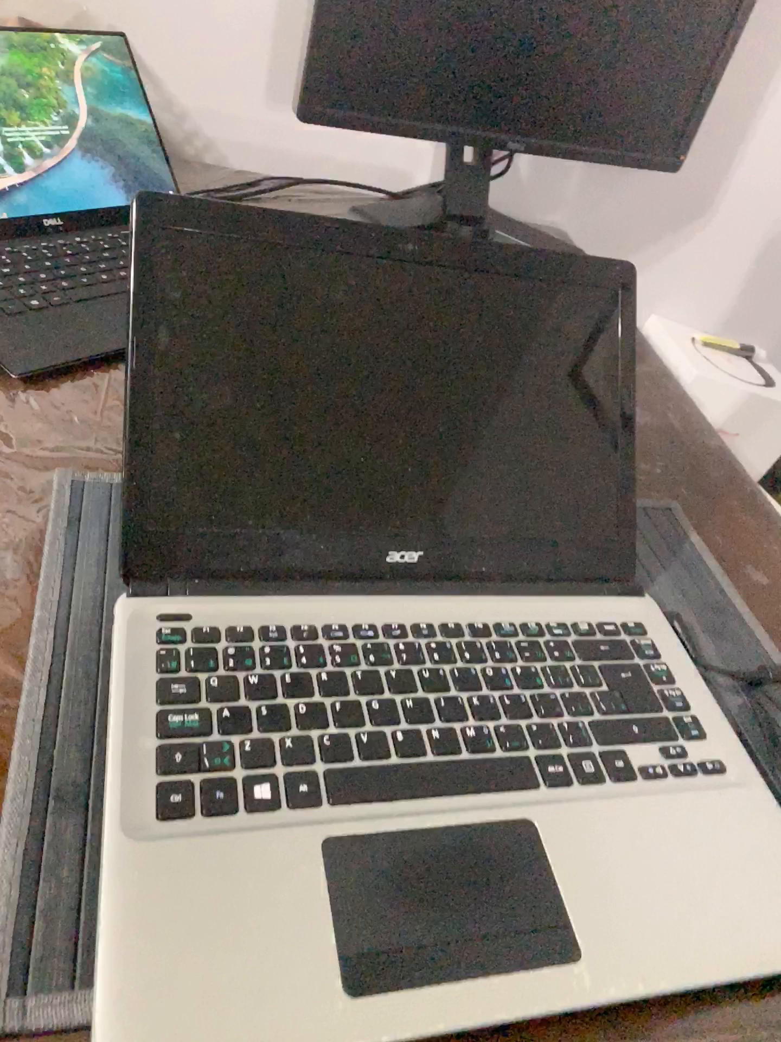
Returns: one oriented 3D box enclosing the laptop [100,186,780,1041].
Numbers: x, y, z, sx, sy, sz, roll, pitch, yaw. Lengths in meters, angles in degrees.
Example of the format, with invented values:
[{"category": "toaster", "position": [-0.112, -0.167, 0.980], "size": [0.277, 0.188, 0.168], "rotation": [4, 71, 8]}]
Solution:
[{"category": "laptop", "position": [0.036, 0.007, 0.401], "size": [0.330, 0.146, 0.387], "rotation": [2, 41, -19]}]
